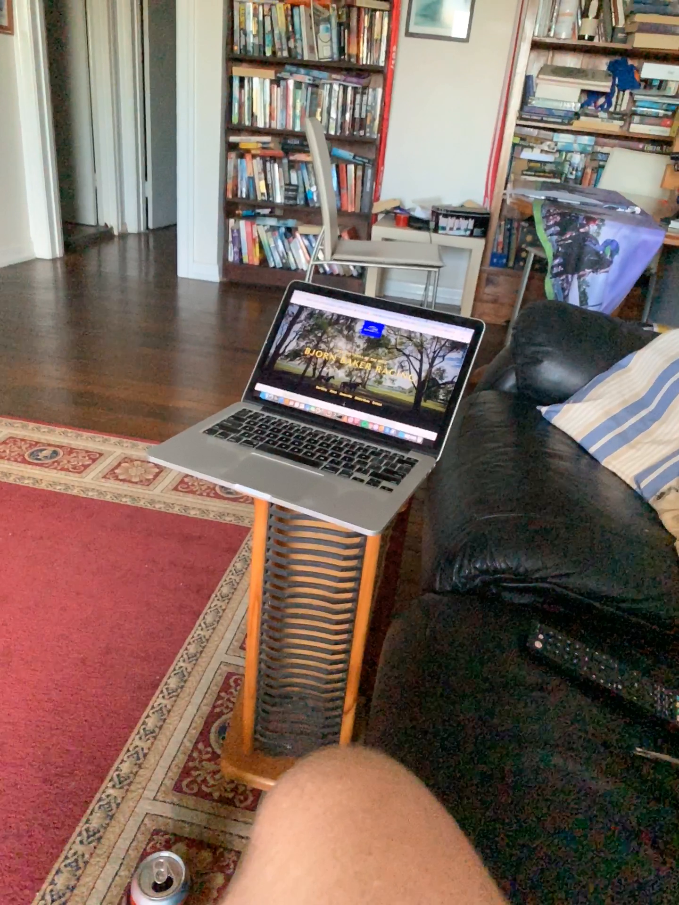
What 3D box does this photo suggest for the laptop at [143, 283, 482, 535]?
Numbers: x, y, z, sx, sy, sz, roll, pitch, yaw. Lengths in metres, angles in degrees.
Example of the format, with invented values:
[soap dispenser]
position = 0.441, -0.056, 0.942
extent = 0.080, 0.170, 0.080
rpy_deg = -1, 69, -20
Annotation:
[laptop]
position = -0.020, -0.087, 0.909
extent = 0.312, 0.161, 0.341
rpy_deg = 17, 27, 21
